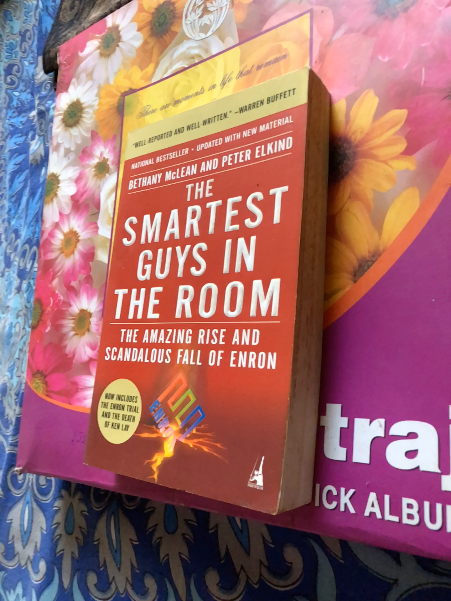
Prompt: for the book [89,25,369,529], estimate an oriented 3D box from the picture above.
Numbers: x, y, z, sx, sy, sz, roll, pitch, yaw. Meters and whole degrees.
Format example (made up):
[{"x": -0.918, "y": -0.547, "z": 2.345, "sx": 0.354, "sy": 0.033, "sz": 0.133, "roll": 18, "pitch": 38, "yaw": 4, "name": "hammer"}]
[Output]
[{"x": -0.003, "y": -0.012, "z": 0.279, "sx": 0.151, "sy": 0.040, "sz": 0.220, "roll": -4, "pitch": 78, "yaw": 42, "name": "book"}]
